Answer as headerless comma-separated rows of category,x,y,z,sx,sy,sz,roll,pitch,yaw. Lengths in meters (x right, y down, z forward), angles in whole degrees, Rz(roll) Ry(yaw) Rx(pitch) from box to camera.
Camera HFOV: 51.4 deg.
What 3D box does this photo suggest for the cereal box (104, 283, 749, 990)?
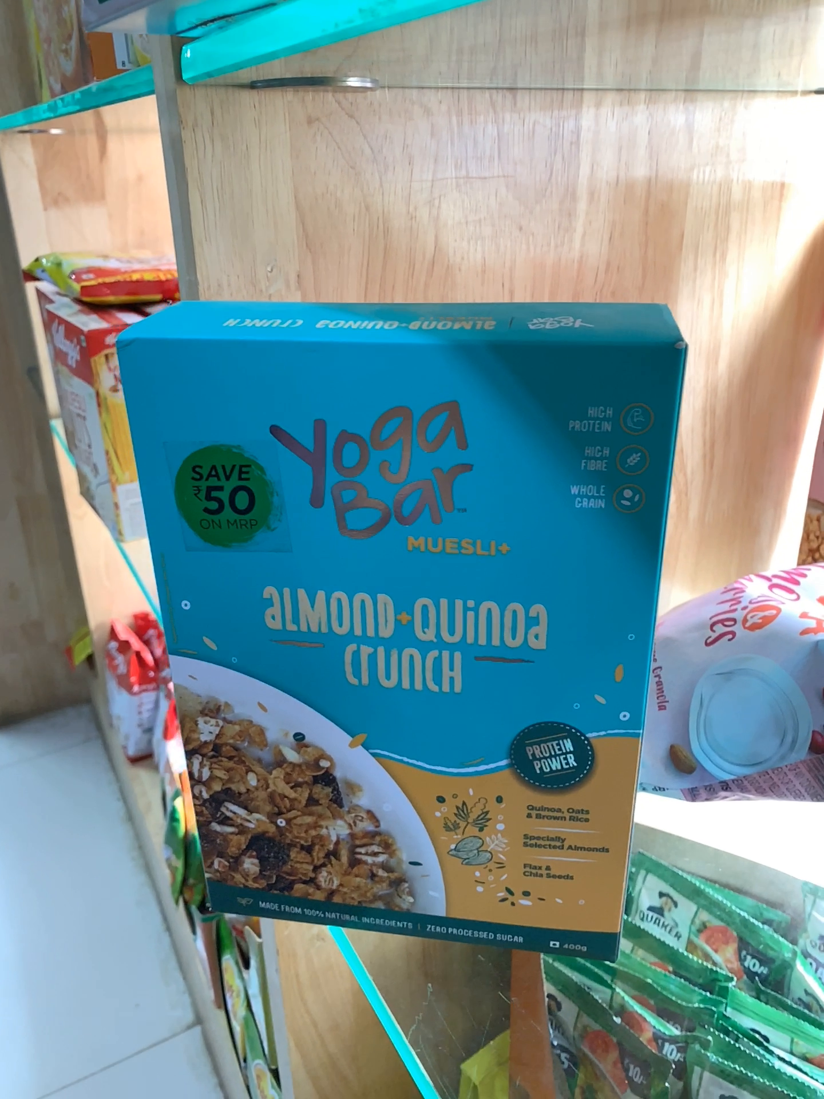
cereal box,0.005,0.031,0.282,0.160,0.218,0.060,3,24,9
